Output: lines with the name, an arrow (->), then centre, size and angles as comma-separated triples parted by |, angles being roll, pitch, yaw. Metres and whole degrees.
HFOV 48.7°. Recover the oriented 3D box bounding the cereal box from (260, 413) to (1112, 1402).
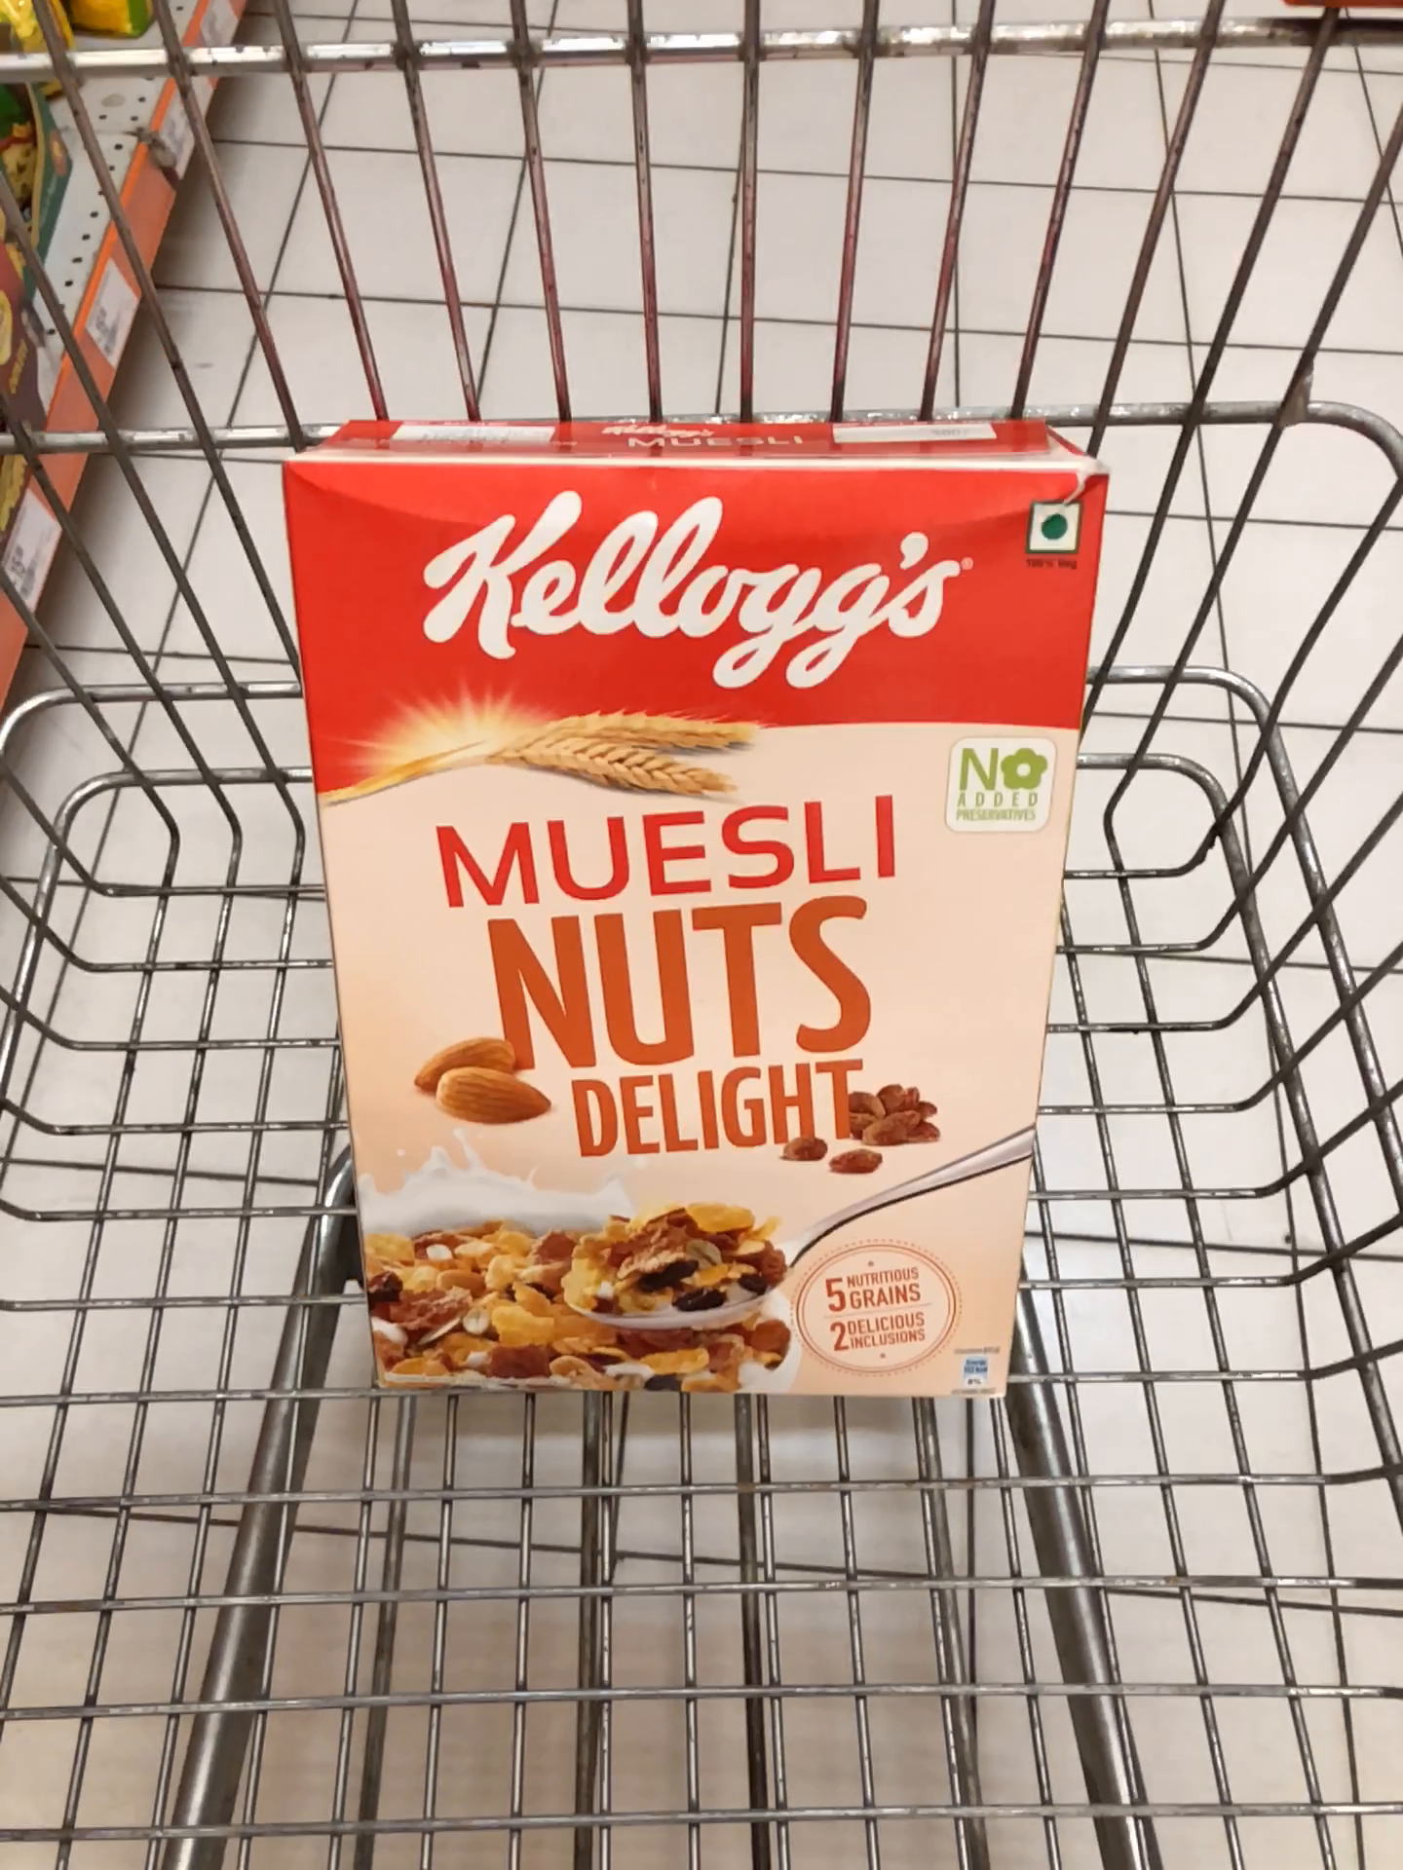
cereal box -> -0.004, -0.002, 0.409 | 0.180, 0.249, 0.070 | 1, 24, 1
